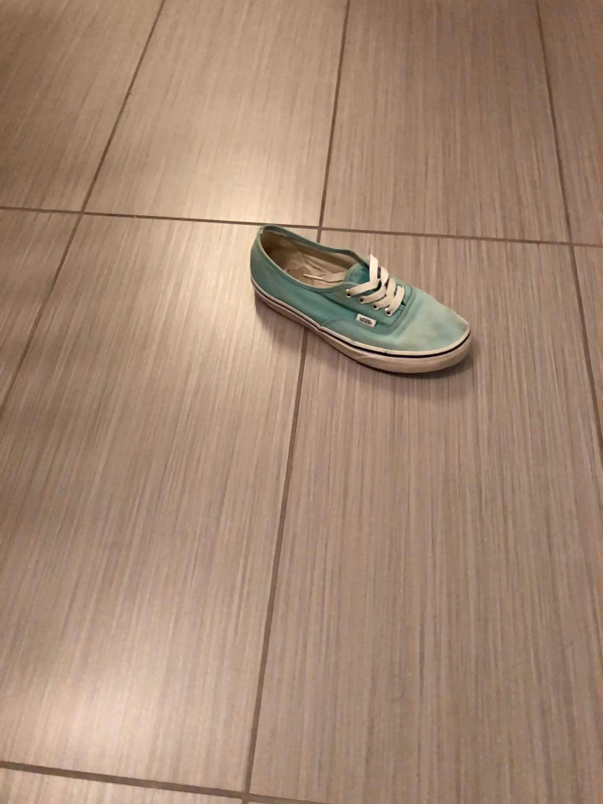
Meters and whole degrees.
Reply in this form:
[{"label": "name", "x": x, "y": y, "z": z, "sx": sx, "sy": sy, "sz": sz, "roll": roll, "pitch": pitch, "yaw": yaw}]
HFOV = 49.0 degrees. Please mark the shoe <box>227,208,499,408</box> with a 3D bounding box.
[{"label": "shoe", "x": 0.059, "y": -0.103, "z": 0.698, "sx": 0.260, "sy": 0.080, "sz": 0.090, "roll": 26, "pitch": 63, "yaw": 17}]
